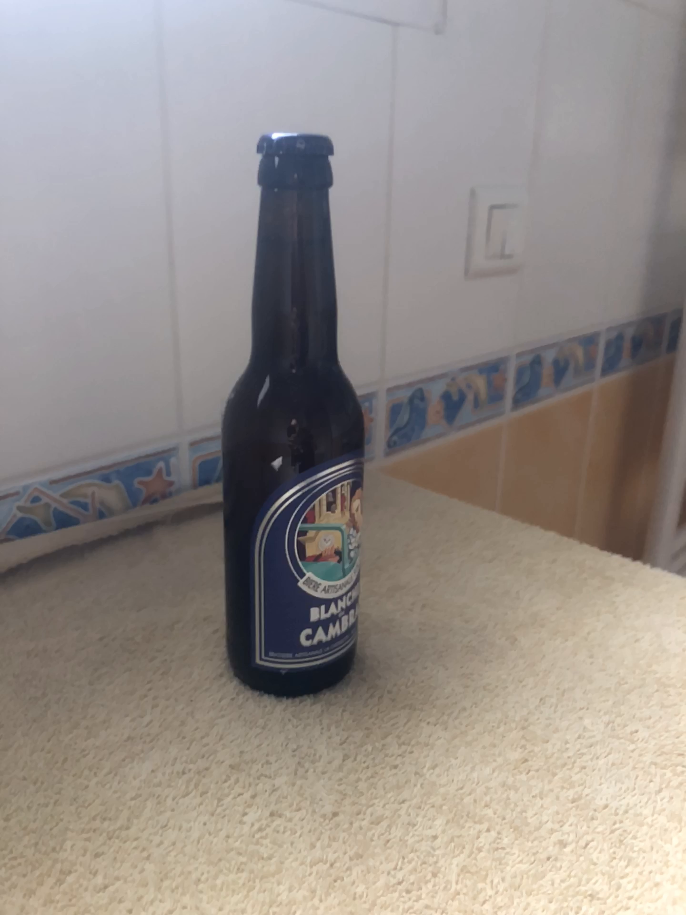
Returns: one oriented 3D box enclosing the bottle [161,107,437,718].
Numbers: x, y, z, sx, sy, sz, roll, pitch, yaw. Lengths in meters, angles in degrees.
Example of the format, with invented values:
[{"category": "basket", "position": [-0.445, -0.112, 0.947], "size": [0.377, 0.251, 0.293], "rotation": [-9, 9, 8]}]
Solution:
[{"category": "bottle", "position": [-0.017, -0.018, 0.310], "size": [0.070, 0.219, 0.070], "rotation": [1, 19, 0]}]
